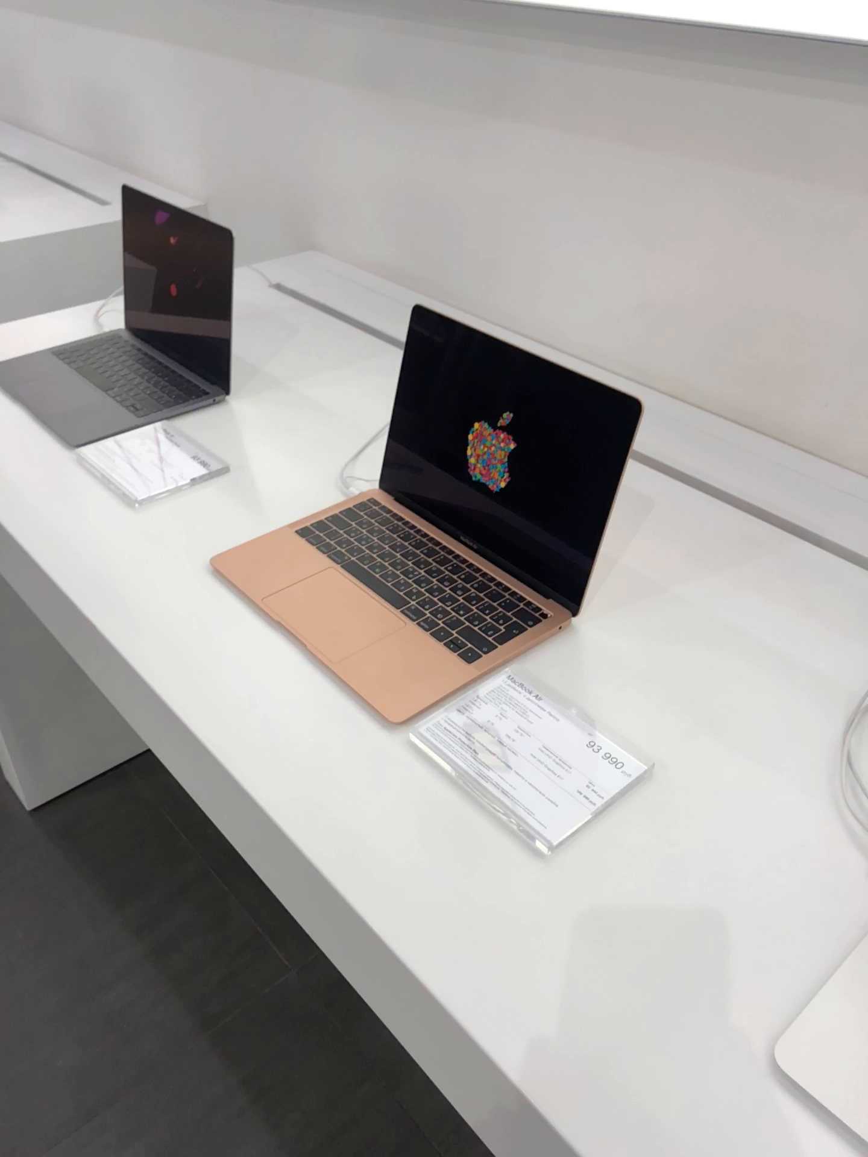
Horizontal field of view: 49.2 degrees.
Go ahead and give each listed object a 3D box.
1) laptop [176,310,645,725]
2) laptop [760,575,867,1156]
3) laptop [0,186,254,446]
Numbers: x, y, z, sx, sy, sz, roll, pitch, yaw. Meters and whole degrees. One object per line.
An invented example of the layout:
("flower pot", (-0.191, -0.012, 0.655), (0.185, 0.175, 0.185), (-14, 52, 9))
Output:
("laptop", (-0.027, -0.078, 0.853), (0.264, 0.188, 0.298), (-26, 43, -31))
("laptop", (0.414, 0.218, 0.433), (0.283, 0.209, 0.364), (-27, 45, -32))
("laptop", (-0.434, -0.355, 1.235), (0.249, 0.204, 0.294), (-26, 43, -30))
